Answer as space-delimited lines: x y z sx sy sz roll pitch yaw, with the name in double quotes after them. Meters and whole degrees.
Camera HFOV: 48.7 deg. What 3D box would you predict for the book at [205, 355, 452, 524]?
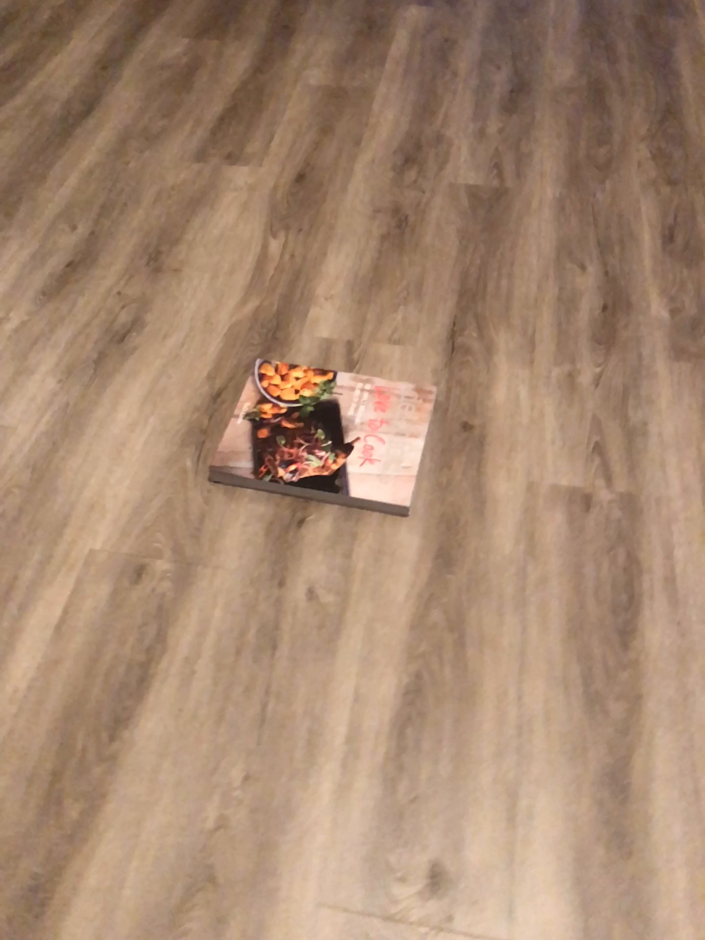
-0.025 -0.050 1.063 0.290 0.030 0.222 10 52 9 "book"
